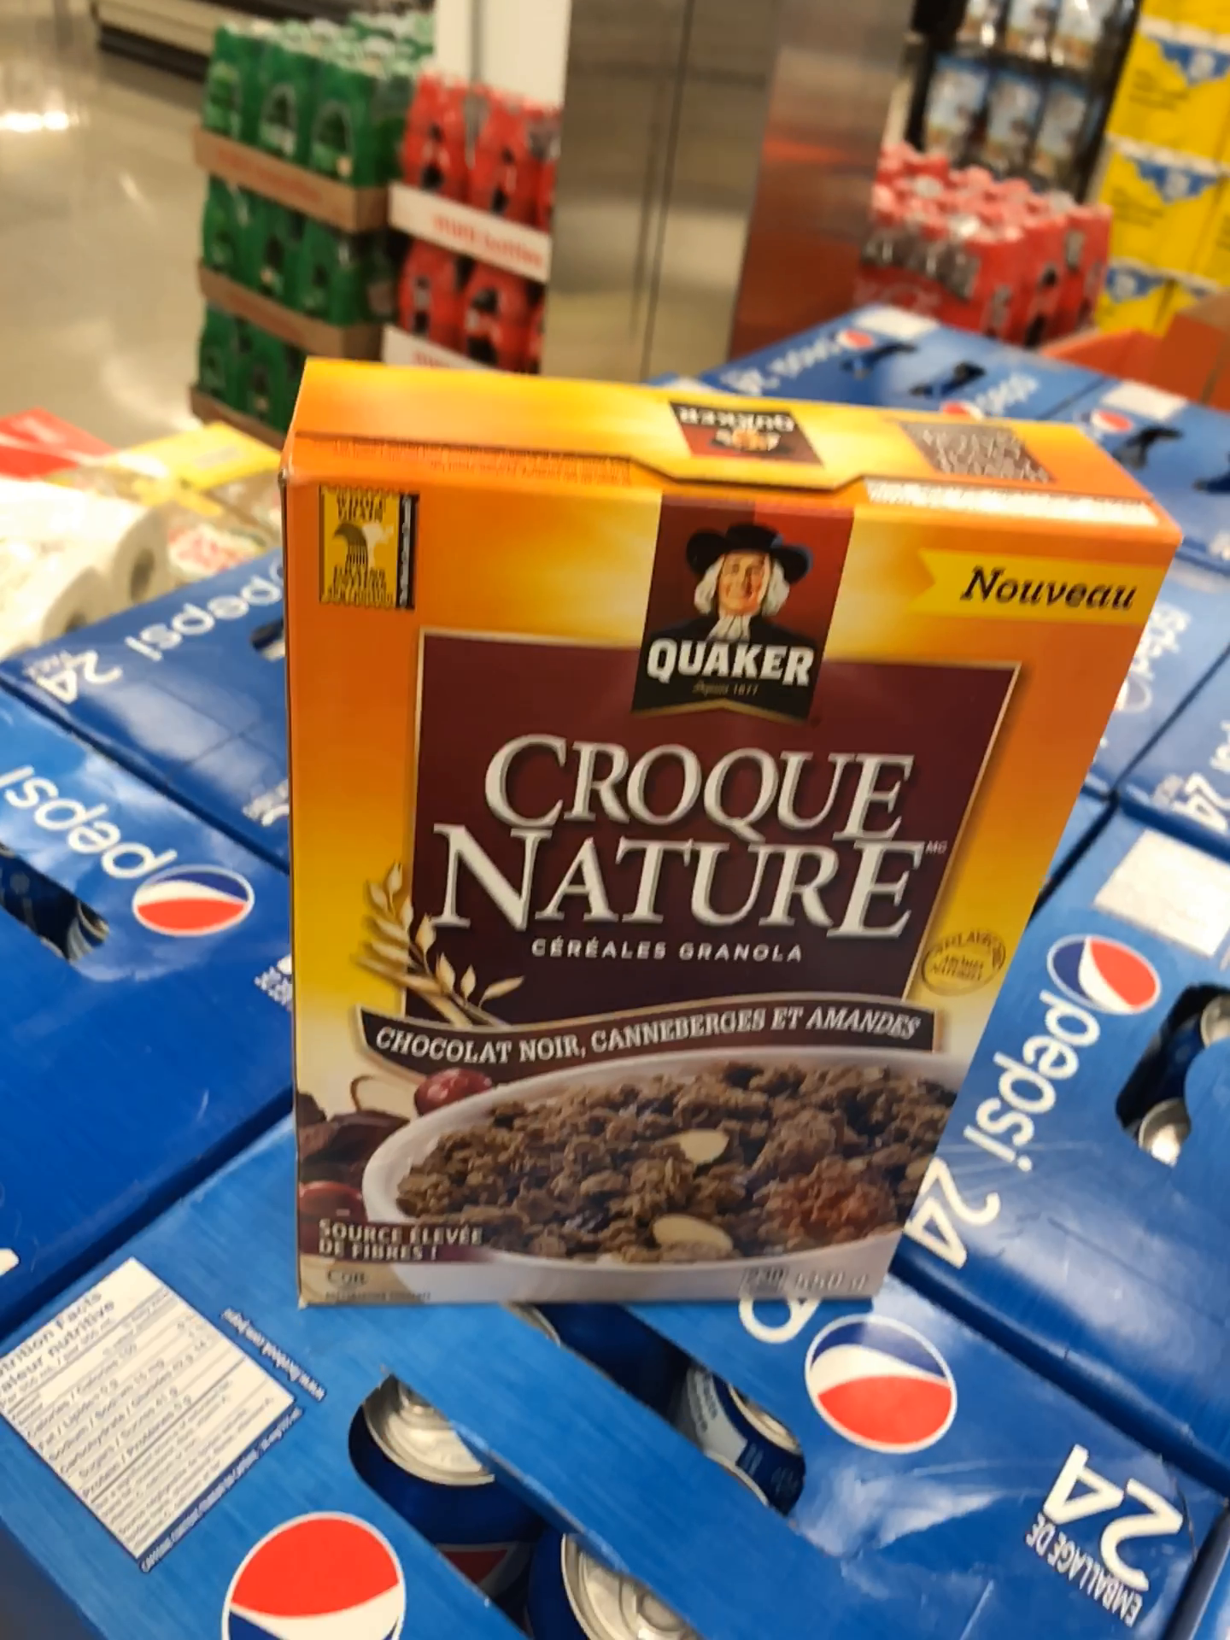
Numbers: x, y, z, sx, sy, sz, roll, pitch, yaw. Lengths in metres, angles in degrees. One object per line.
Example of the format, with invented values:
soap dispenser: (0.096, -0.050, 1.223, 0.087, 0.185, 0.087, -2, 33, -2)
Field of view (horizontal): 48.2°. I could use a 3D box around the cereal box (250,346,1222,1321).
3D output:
cereal box: (0.008, 0.022, 0.315, 0.160, 0.229, 0.060, 2, 38, -7)
